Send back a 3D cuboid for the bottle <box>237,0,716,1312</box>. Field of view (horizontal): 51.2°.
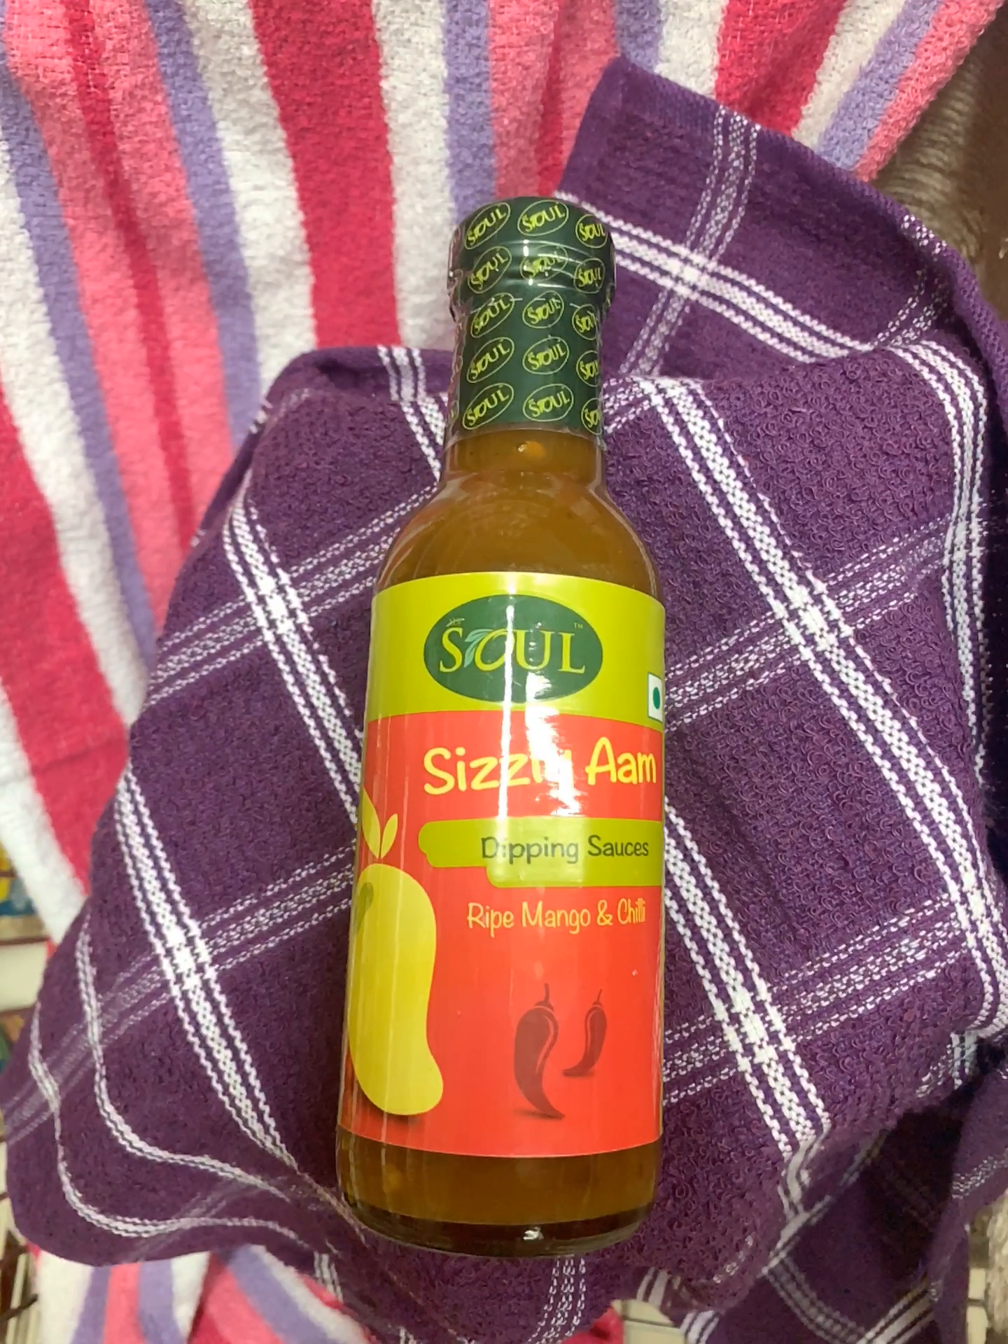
[{"bbox_3d":[0.004,-0.012,0.187,0.060,0.060,0.200,0,78,15],"label":"bottle"}]
